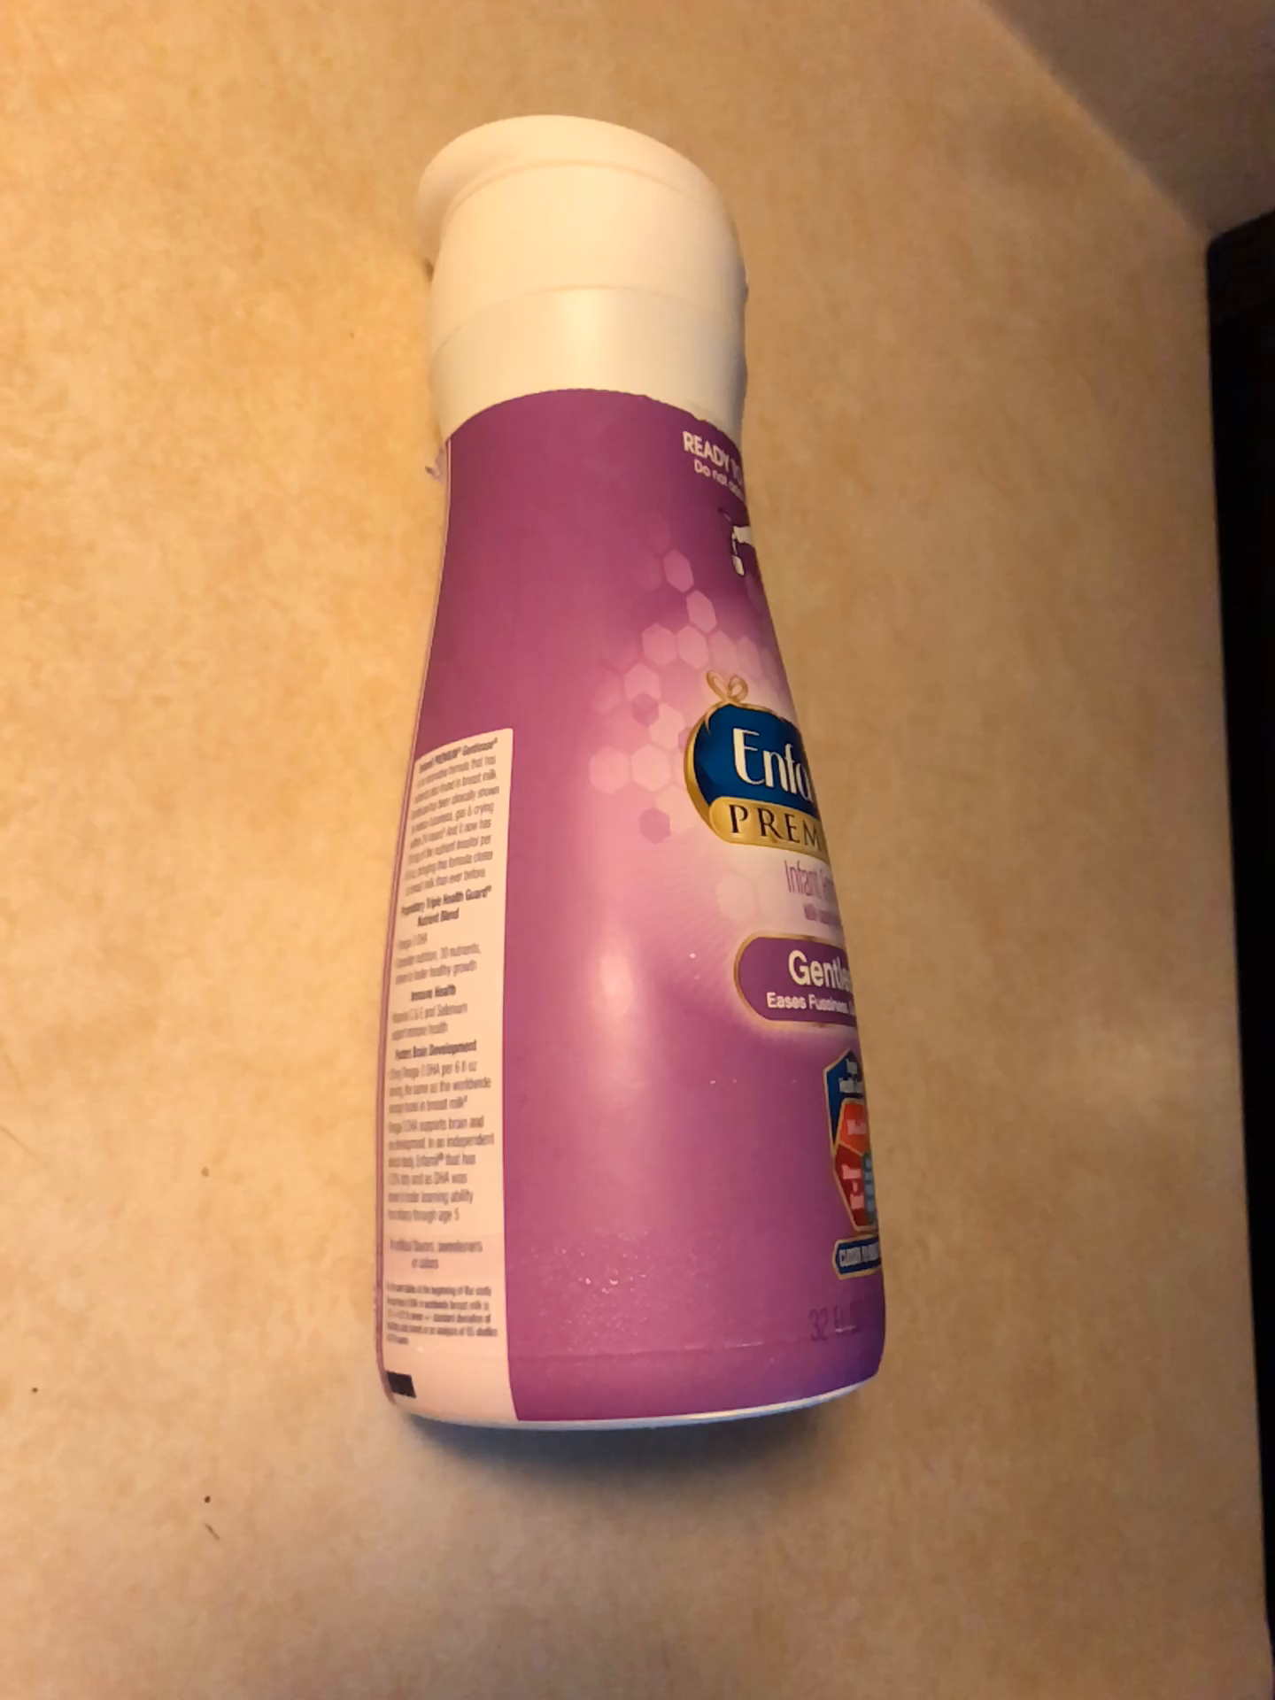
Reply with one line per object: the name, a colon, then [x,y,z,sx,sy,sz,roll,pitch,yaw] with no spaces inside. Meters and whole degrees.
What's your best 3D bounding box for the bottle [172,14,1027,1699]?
bottle: [-0.002,0.001,0.269,0.091,0.100,0.279,33,51,-55]
